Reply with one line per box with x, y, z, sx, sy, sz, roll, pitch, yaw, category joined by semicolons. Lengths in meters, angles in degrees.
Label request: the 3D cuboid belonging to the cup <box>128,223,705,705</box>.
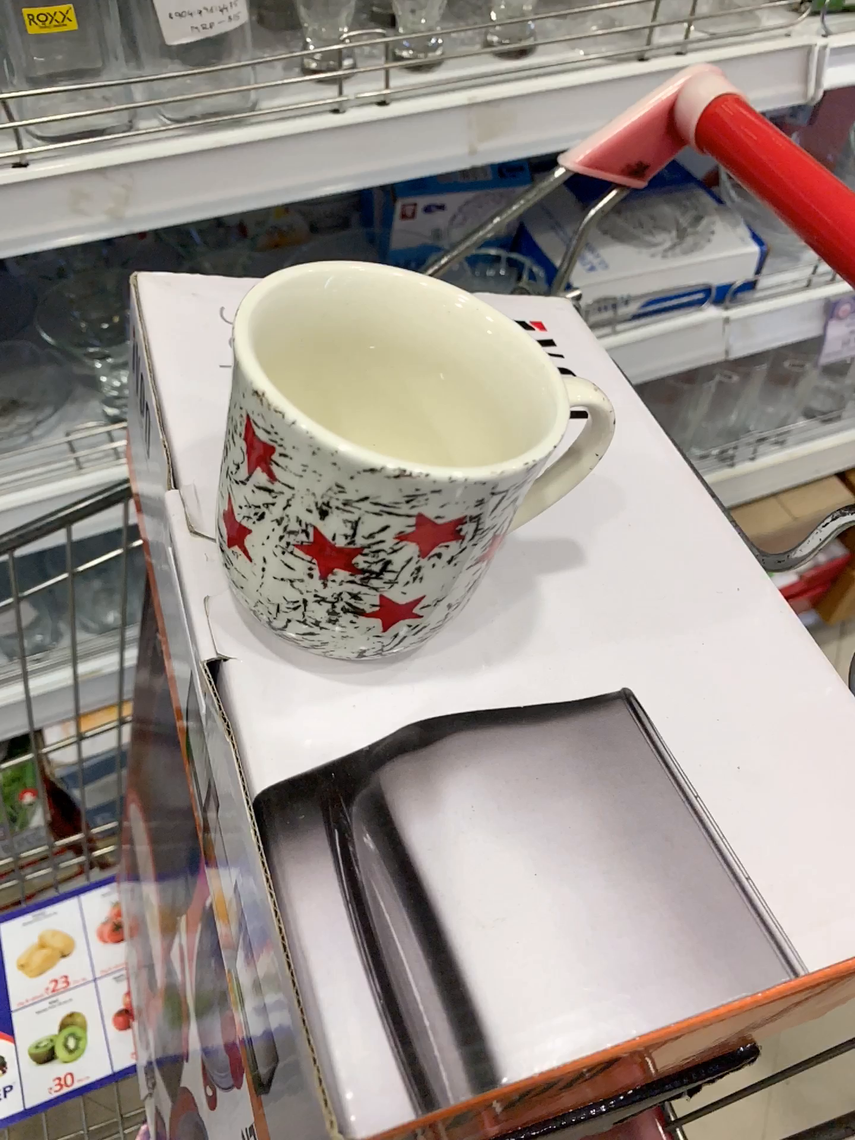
-0.009;-0.021;0.207;0.100;0.070;0.070;1;49;-29;cup
